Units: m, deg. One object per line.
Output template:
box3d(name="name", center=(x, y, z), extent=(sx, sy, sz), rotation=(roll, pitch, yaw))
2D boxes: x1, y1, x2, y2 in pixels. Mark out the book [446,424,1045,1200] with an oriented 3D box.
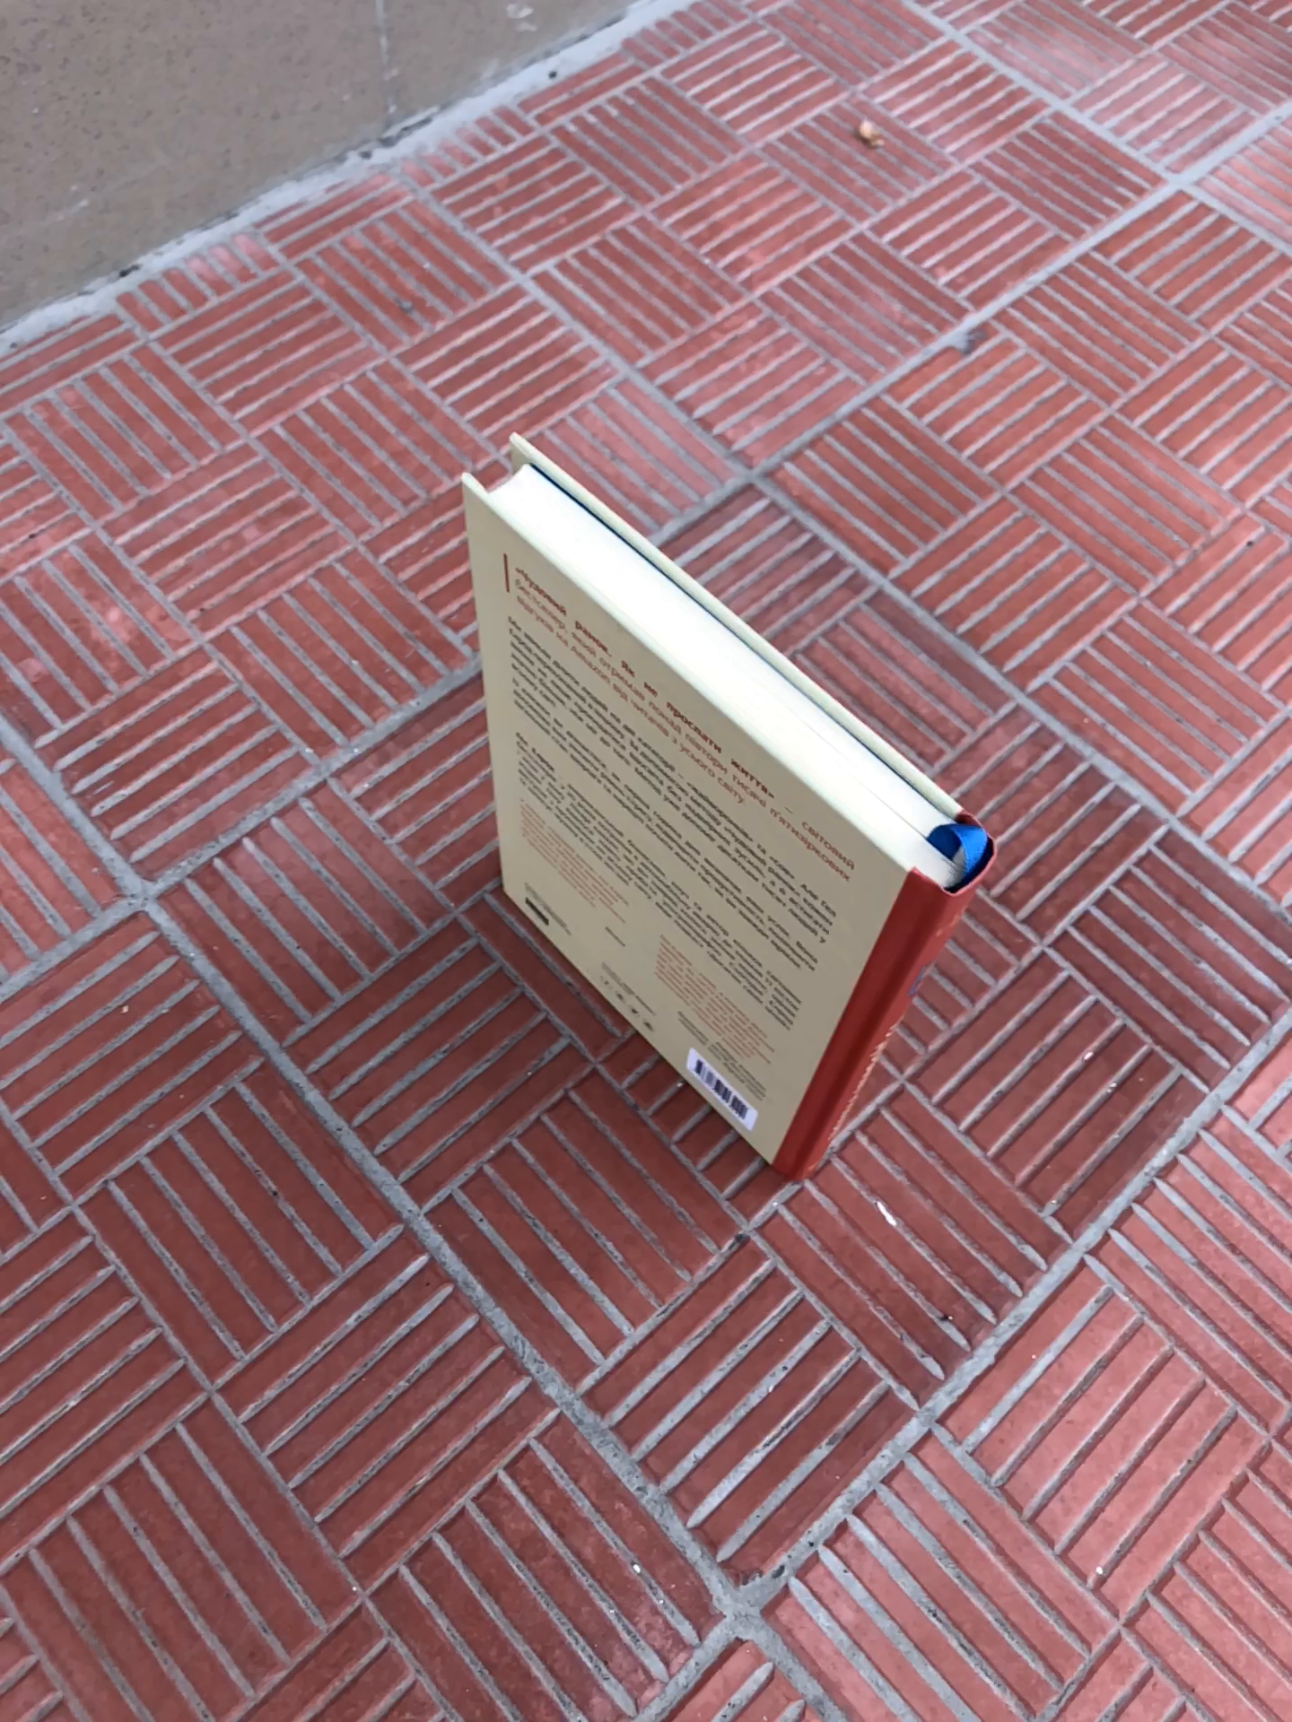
box3d(name="book", center=(0.012, 0.003, 0.375), extent=(0.025, 0.196, 0.145), rotation=(-40, 71, -20))
